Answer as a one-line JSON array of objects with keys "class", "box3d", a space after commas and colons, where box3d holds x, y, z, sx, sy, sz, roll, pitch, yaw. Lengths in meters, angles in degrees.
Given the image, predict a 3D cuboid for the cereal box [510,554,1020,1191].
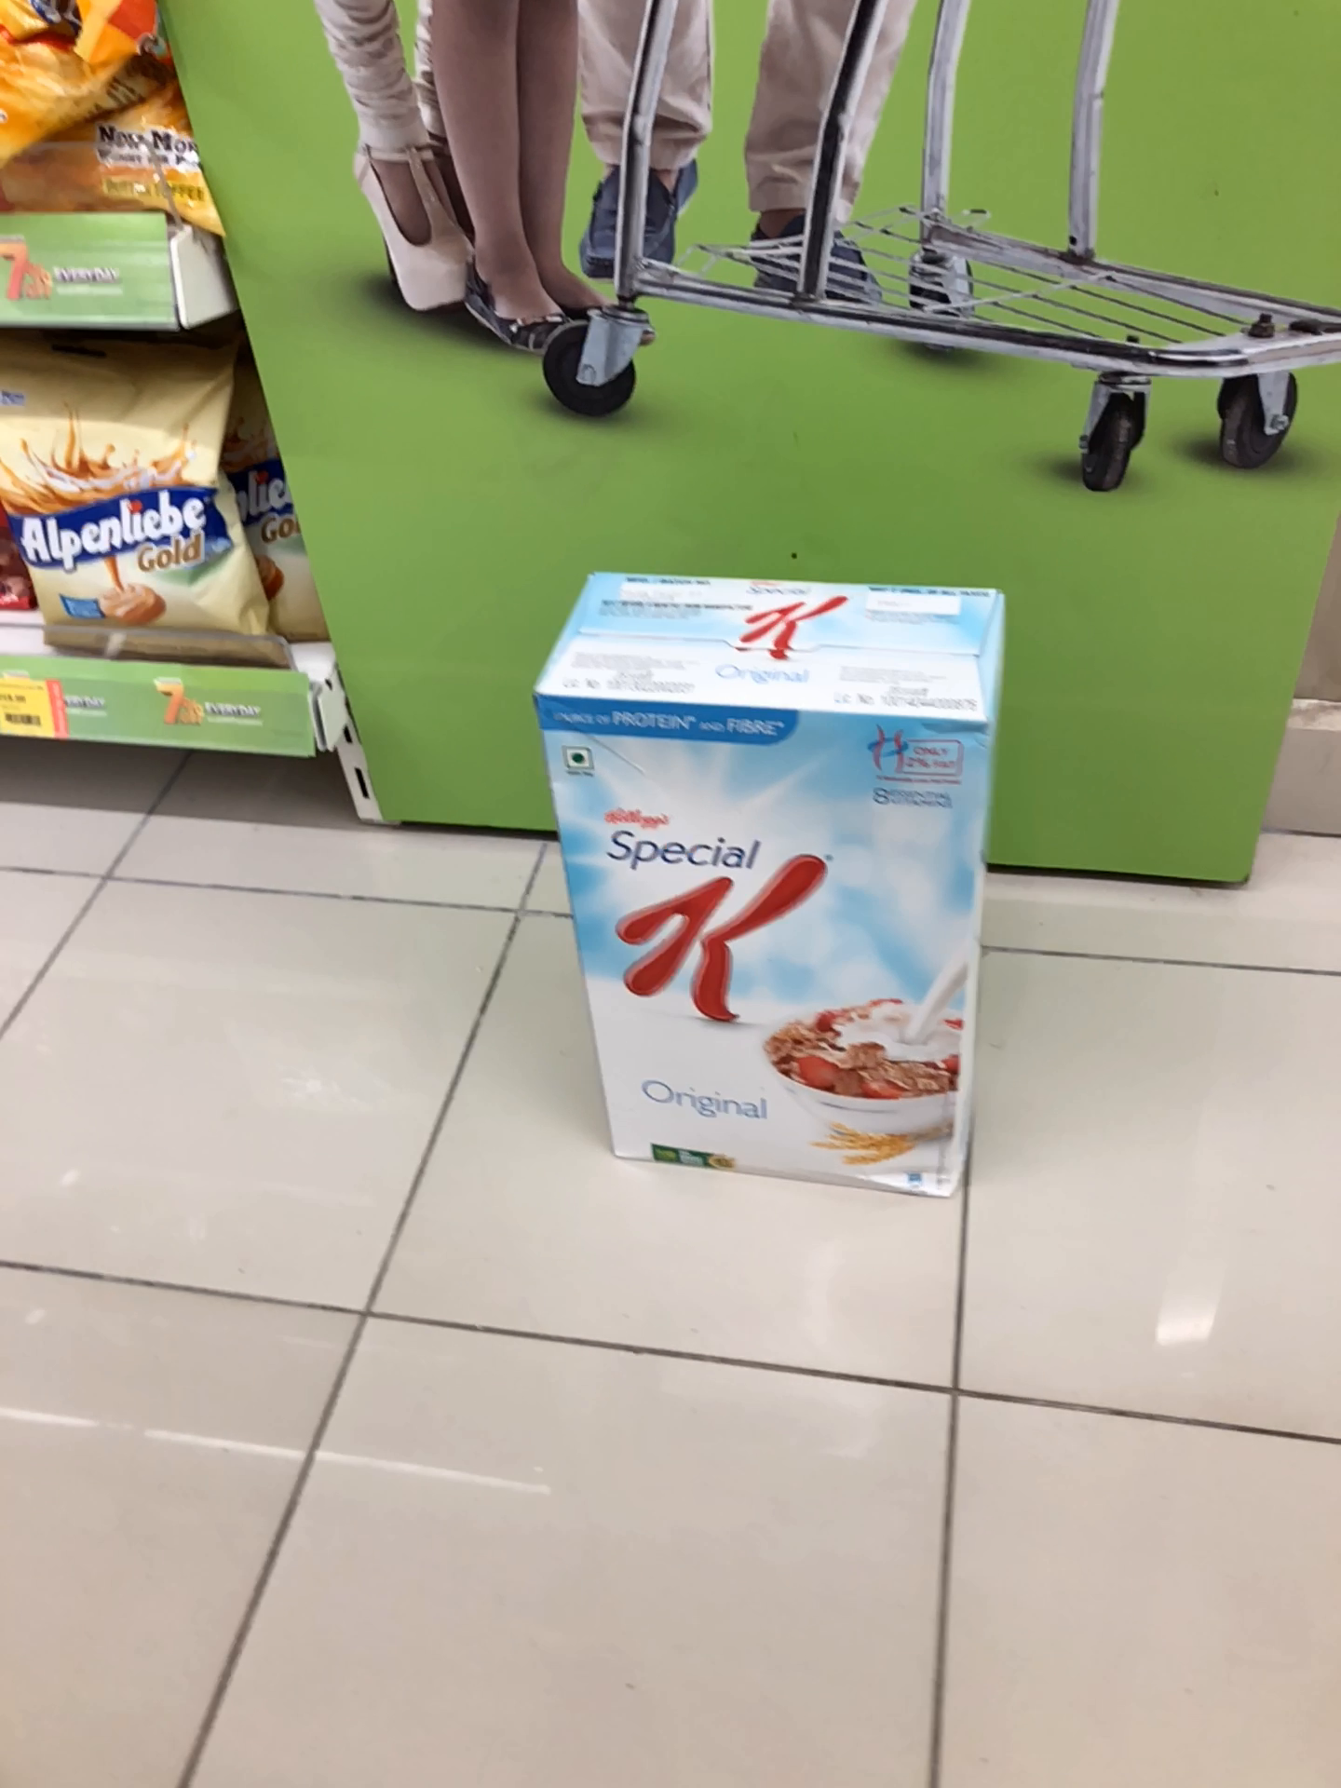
[{"class": "cereal box", "box3d": [0.054, 0.000, 0.720, 0.200, 0.308, 0.101, 4, 44, 11]}]
